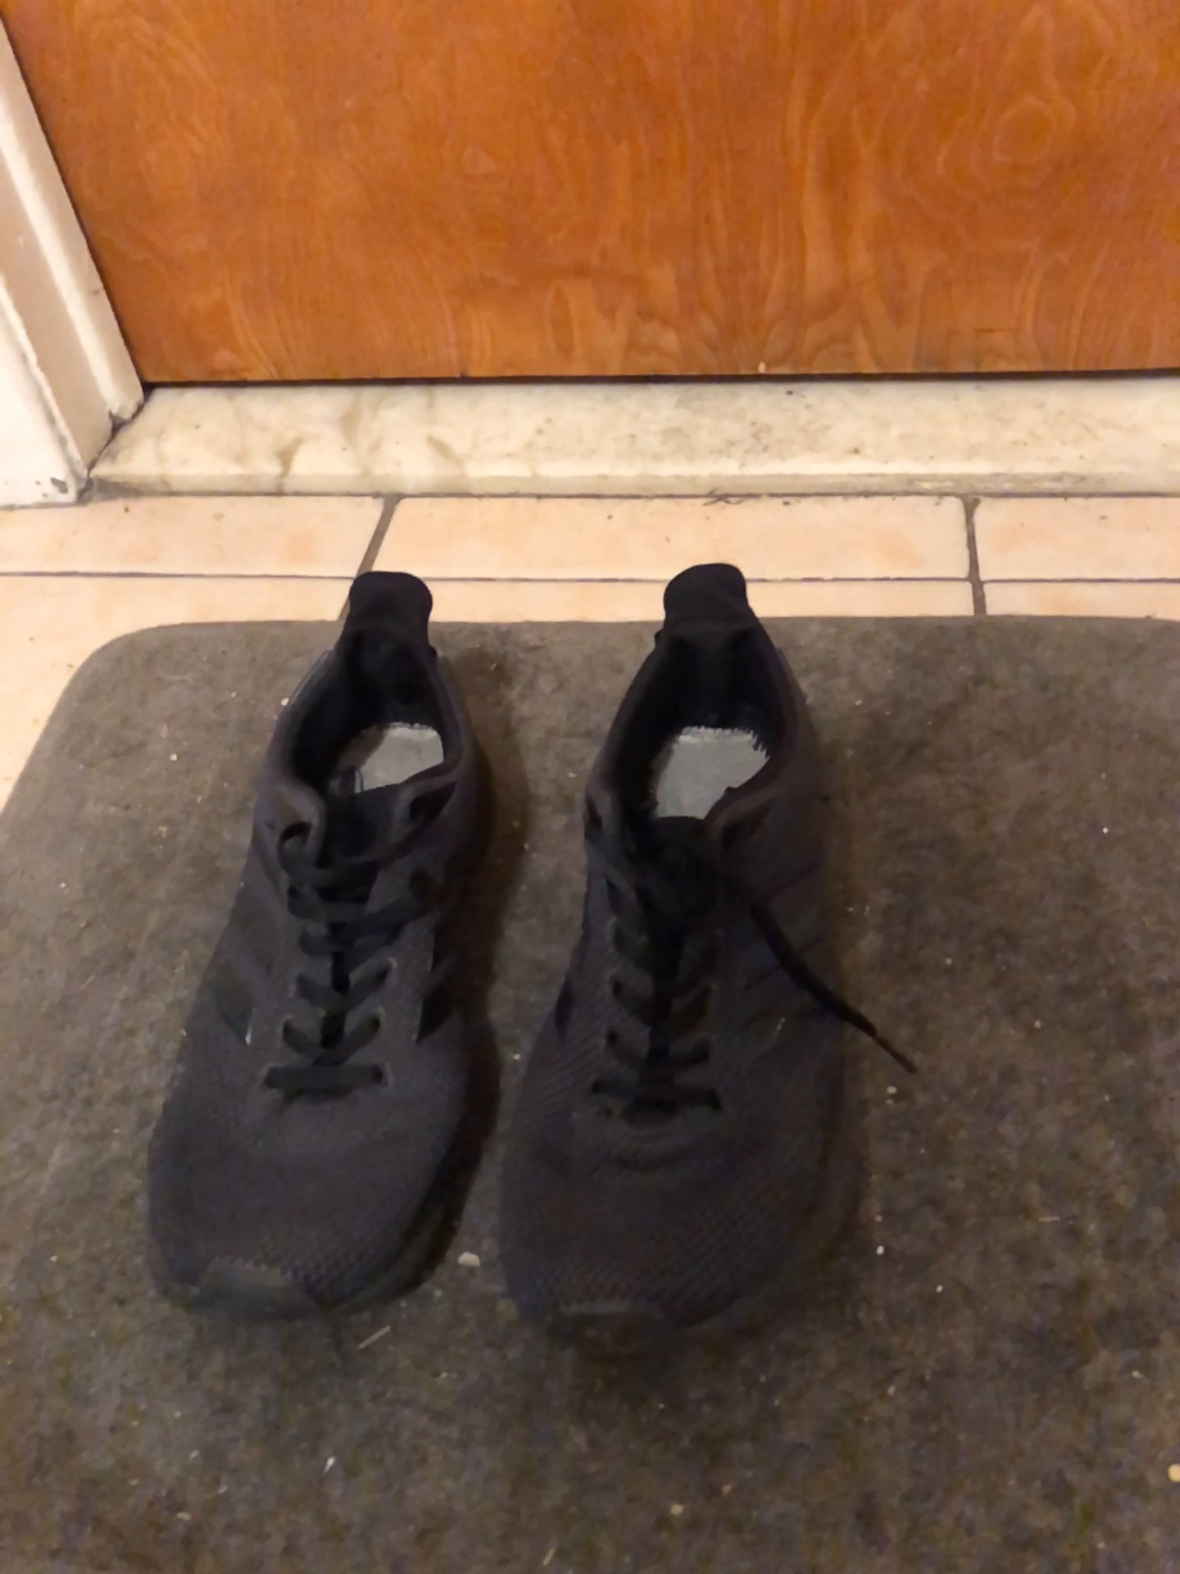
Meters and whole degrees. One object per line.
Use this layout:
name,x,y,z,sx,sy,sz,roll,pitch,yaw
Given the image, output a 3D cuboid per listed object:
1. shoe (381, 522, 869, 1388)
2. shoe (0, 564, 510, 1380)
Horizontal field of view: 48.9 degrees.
shoe,0.031,0.038,0.438,0.110,0.119,0.262,3,47,11
shoe,-0.100,0.050,0.460,0.110,0.119,0.262,1,47,3
